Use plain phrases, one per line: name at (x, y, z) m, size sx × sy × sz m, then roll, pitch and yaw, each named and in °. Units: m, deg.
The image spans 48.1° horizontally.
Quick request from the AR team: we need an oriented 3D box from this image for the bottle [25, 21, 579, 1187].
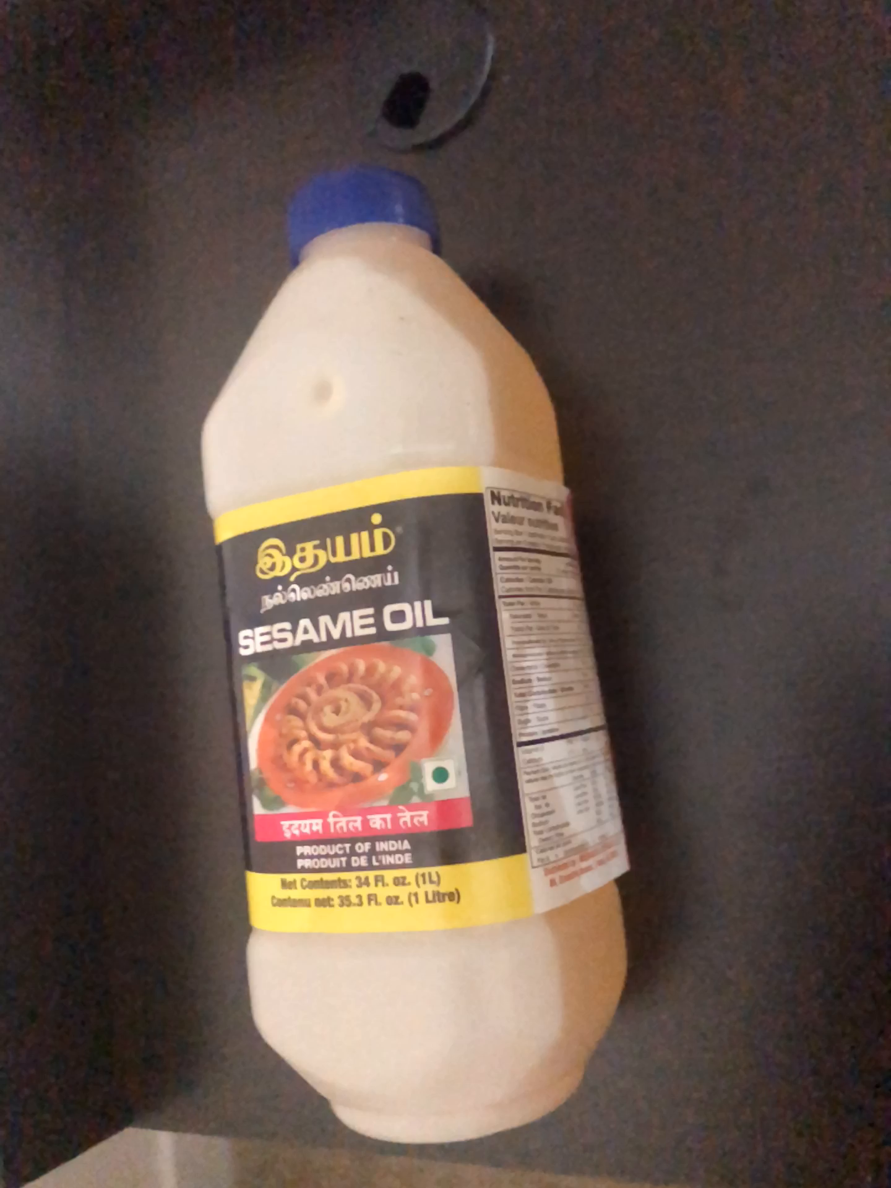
bottle at (-0.036, 0.007, 0.264) m, size 0.090 × 0.090 × 0.250 m, roll -9°, pitch 82°, yaw 26°
